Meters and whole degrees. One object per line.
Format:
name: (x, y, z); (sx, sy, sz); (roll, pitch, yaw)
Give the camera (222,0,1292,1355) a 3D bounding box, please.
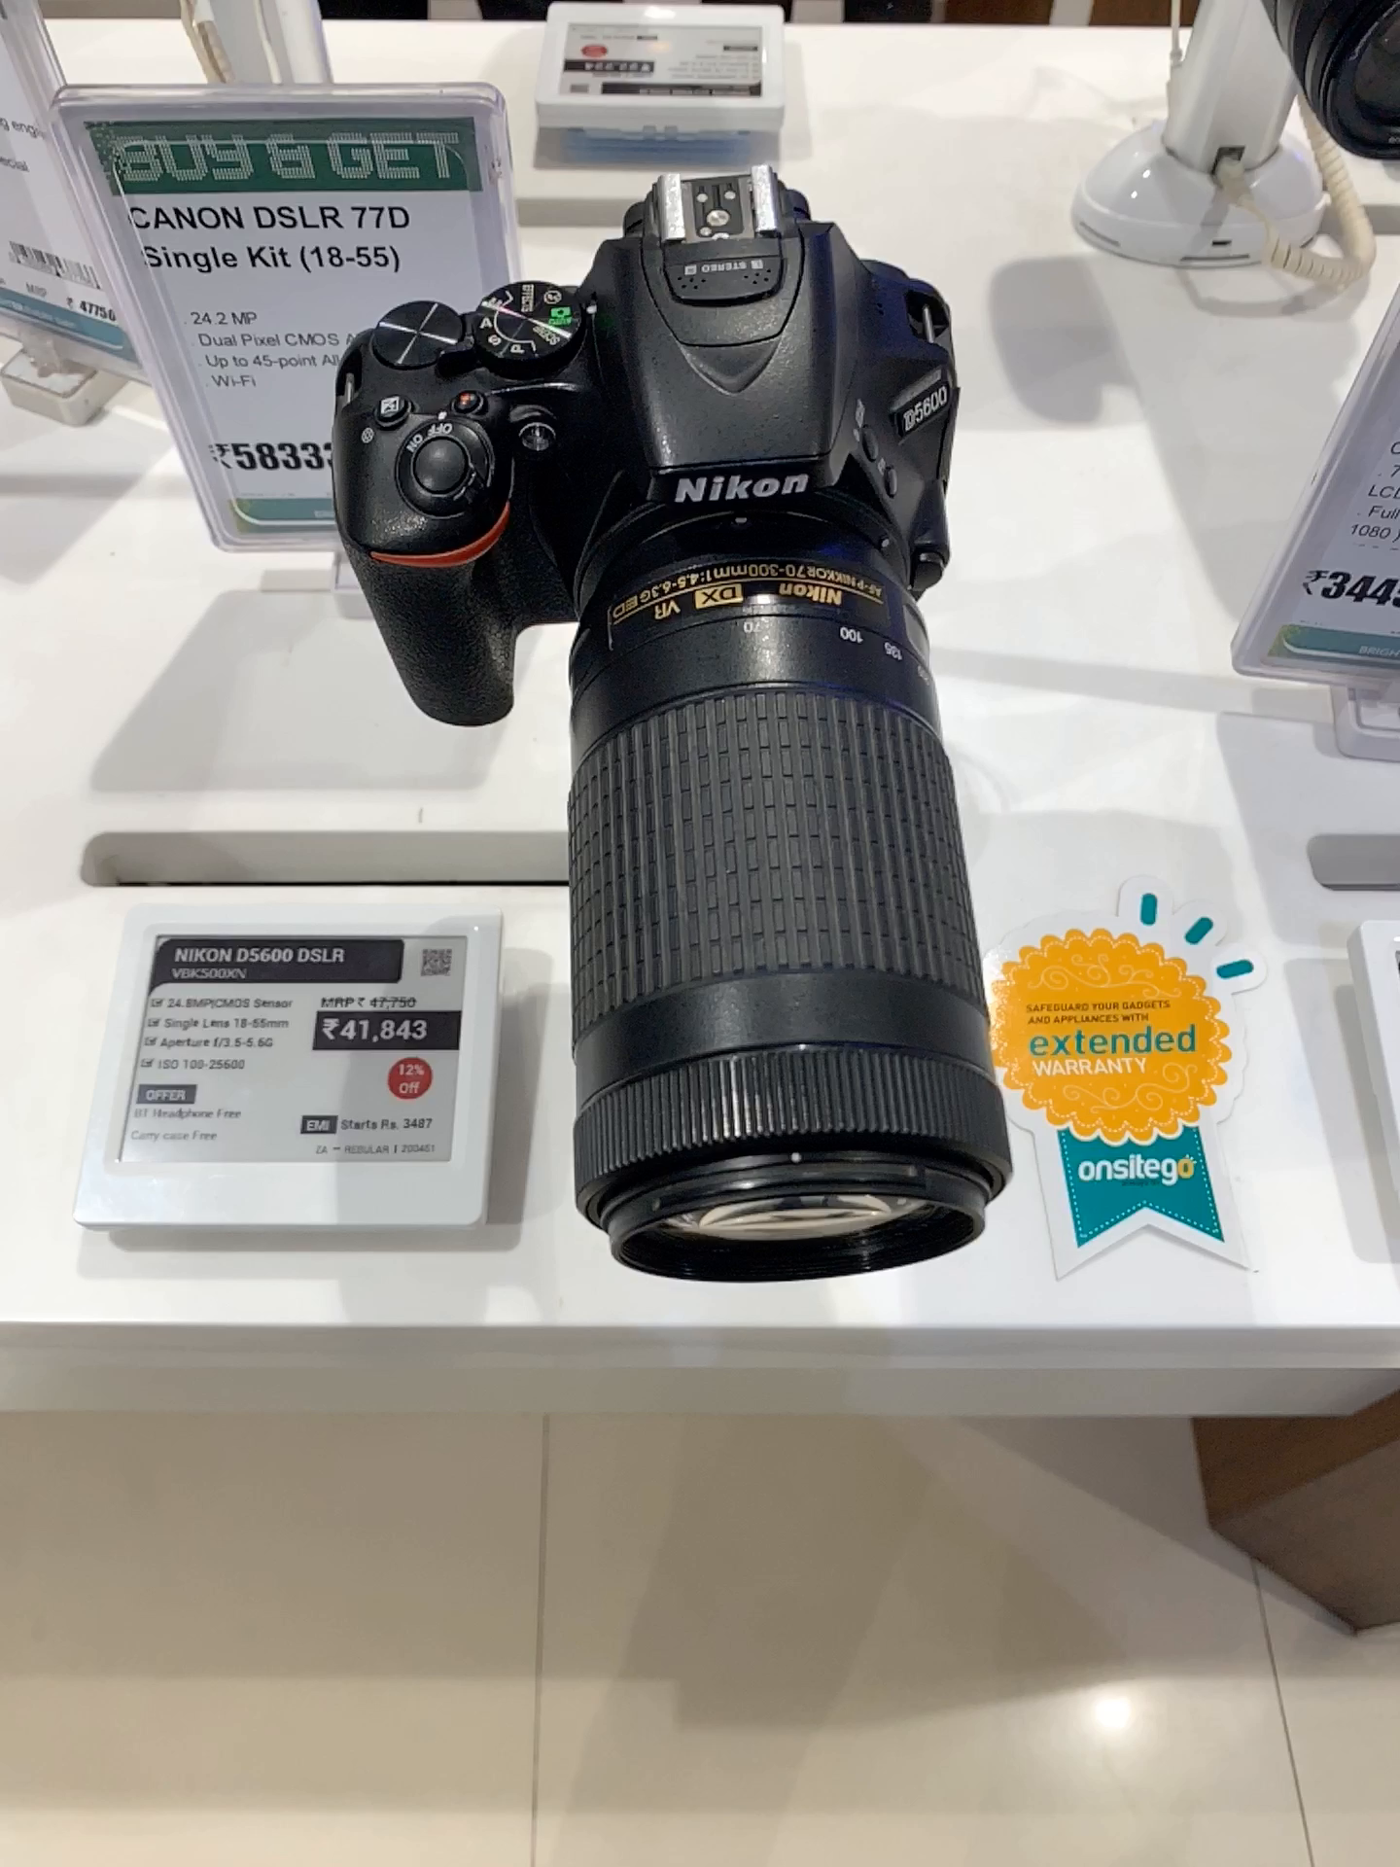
camera: (0.000, -0.073, 0.280); (0.130, 0.080, 0.281); (-3, 60, -2)
